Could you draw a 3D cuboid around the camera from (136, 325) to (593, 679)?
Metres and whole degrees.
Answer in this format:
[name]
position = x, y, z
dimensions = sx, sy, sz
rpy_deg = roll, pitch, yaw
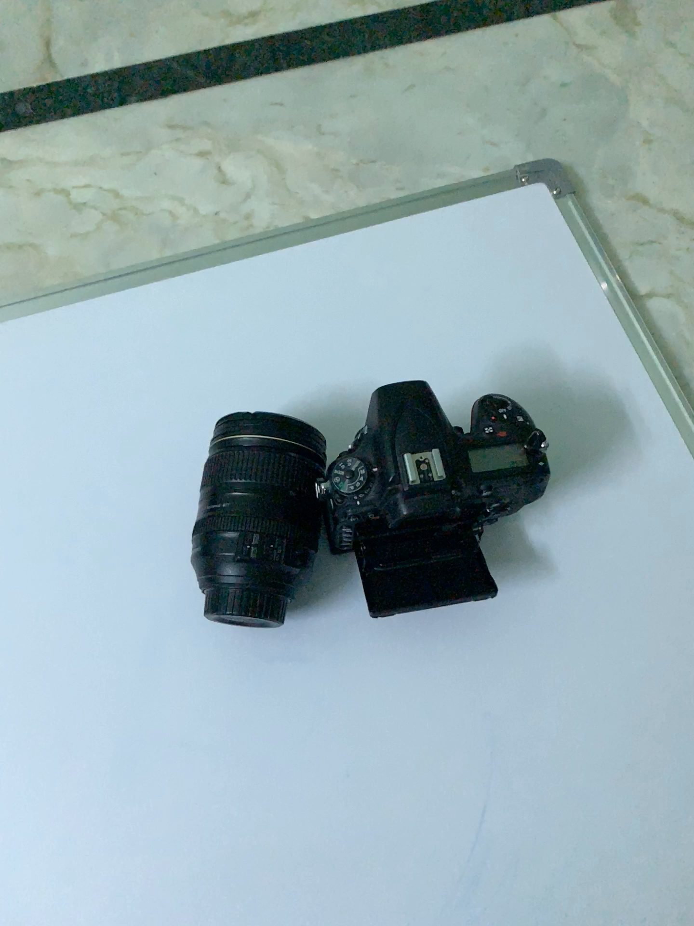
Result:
[camera]
position = 0.005, 0.027, 0.471
dimensions = 0.240, 0.100, 0.160
rpy_deg = -13, 70, -6
